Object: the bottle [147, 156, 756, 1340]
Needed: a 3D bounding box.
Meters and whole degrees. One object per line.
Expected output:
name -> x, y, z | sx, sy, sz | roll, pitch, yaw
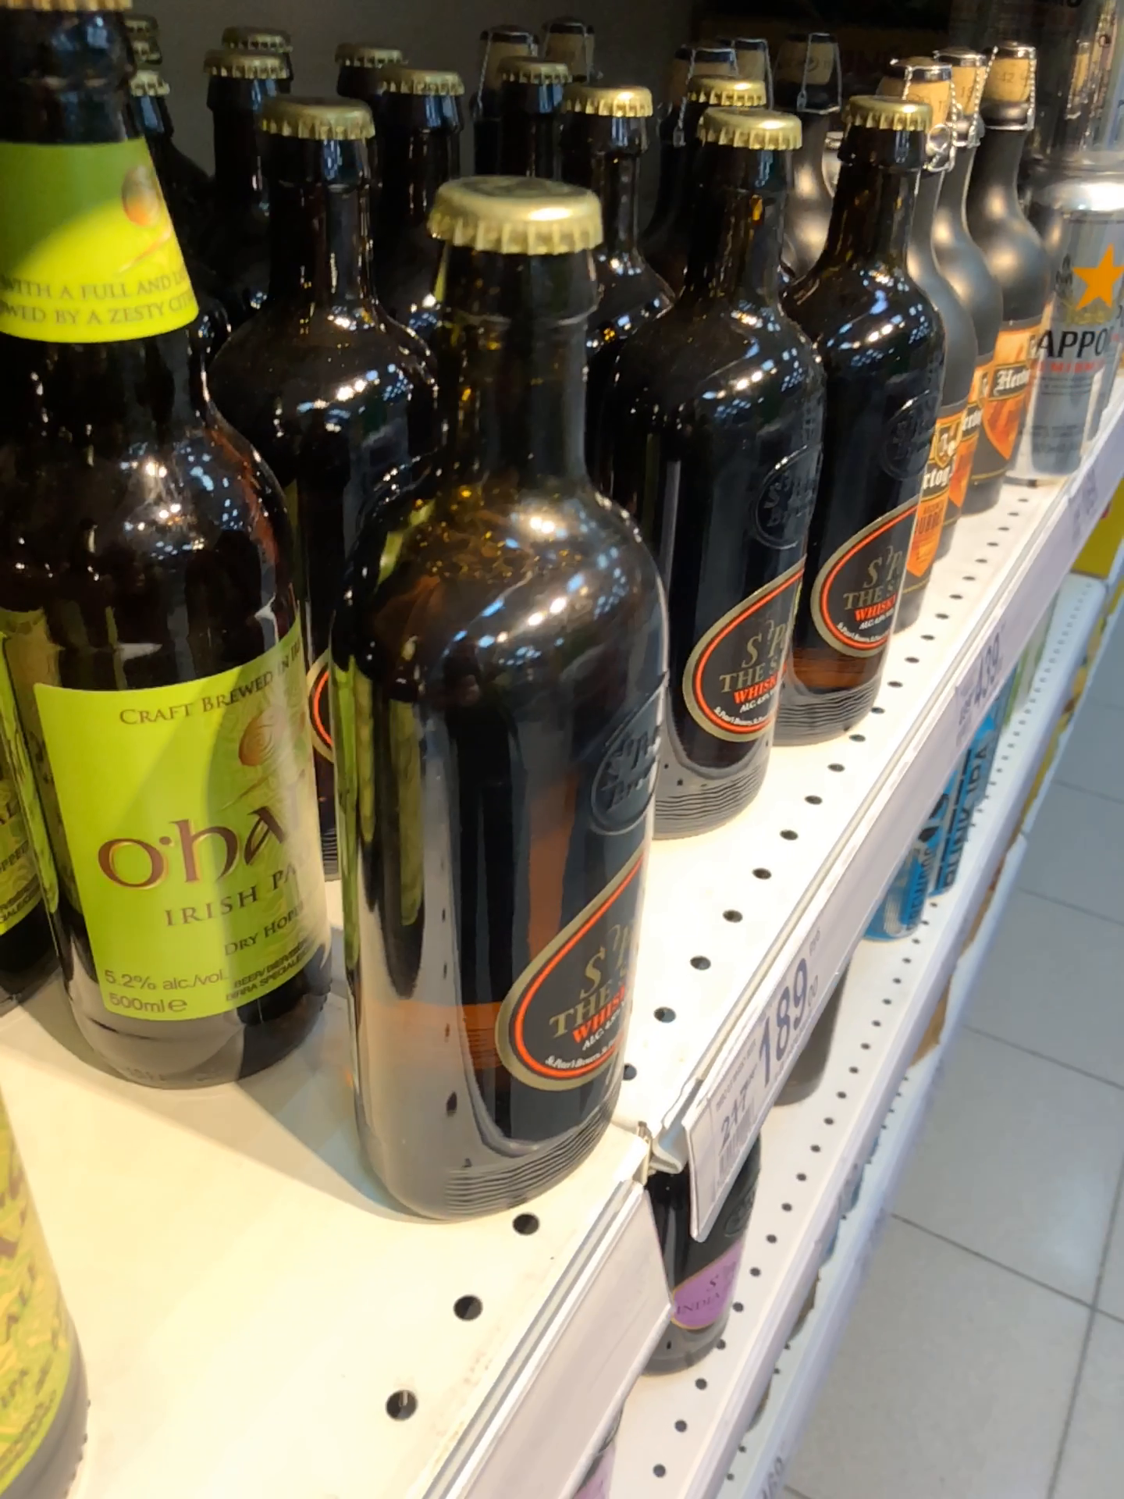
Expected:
bottle -> -0.018, 0.007, 0.264 | 0.060, 0.229, 0.090 | 18, 35, 22
